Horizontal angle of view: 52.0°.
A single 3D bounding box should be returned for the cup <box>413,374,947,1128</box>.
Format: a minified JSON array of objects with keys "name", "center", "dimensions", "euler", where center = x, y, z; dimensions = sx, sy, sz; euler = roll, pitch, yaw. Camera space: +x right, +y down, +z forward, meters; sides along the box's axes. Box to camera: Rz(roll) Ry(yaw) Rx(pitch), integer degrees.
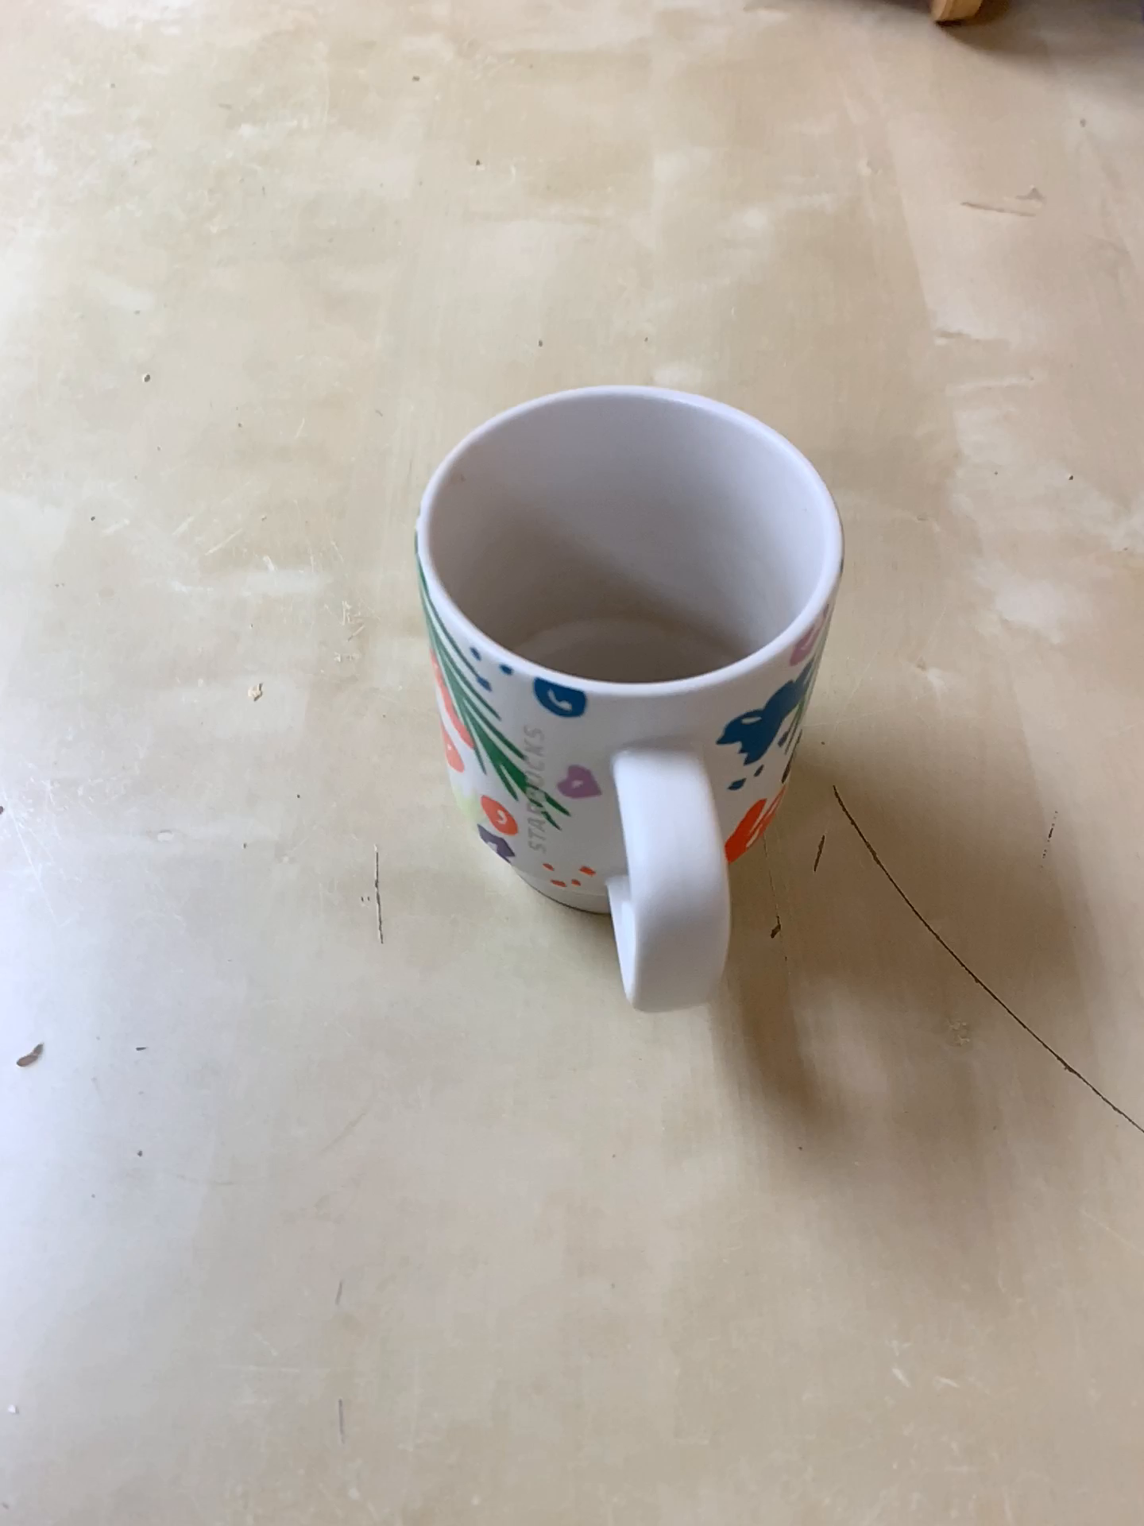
[{"name":"cup","center":[0.012,-0.002,0.257],"dimensions":[0.081,0.095,0.128],"euler":[-4,55,-3]}]
